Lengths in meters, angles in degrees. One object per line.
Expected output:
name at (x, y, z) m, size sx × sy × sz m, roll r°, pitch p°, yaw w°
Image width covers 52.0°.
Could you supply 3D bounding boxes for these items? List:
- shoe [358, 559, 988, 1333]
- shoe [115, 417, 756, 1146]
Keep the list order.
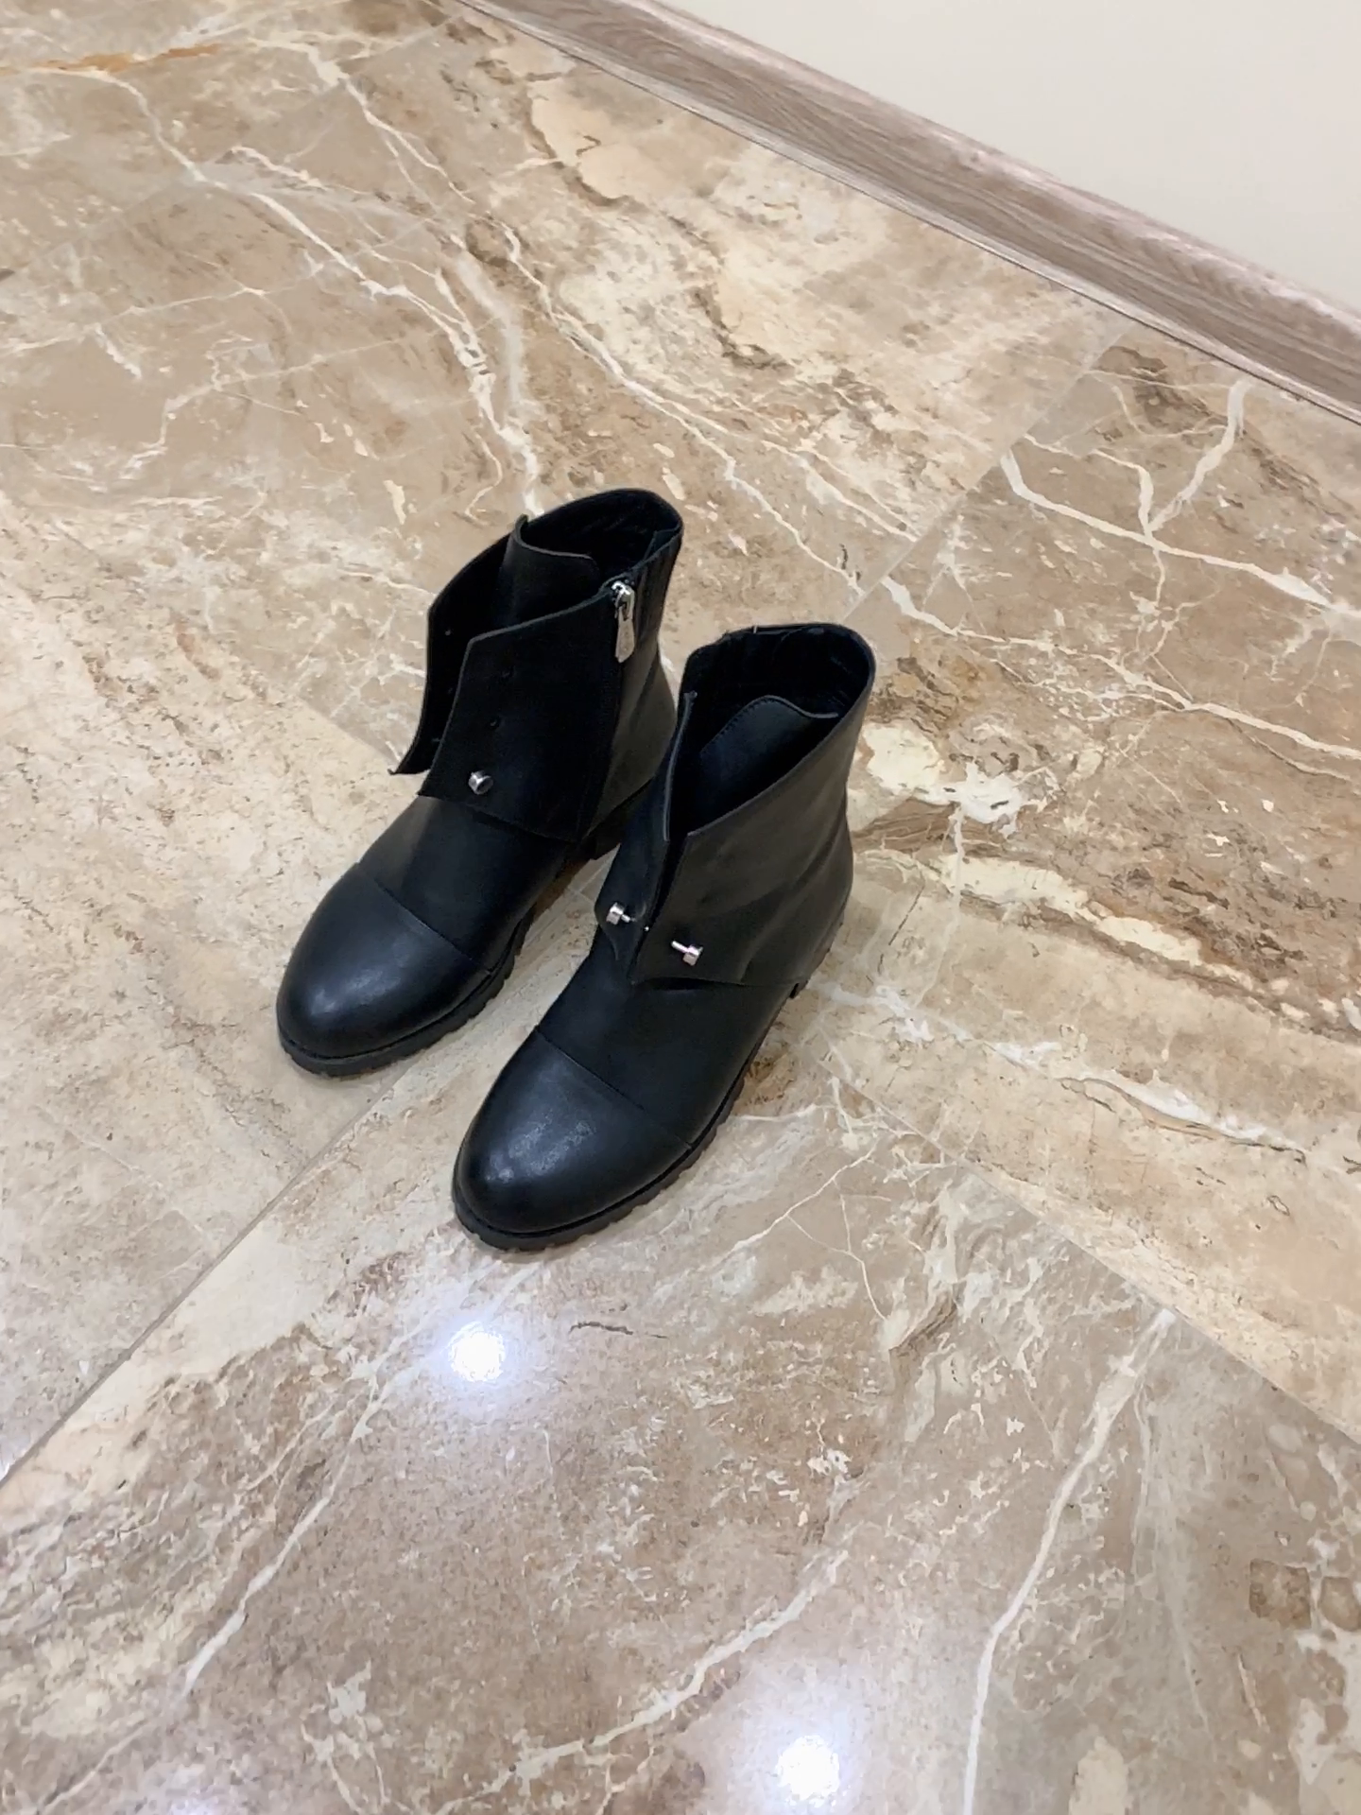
shoe at (0.003, 0.021, 0.575) m, size 0.090 × 0.199 × 0.250 m, roll 33°, pitch 63°, yaw 16°
shoe at (-0.085, -0.049, 0.612) m, size 0.090 × 0.199 × 0.250 m, roll 36°, pitch 66°, yaw 18°
